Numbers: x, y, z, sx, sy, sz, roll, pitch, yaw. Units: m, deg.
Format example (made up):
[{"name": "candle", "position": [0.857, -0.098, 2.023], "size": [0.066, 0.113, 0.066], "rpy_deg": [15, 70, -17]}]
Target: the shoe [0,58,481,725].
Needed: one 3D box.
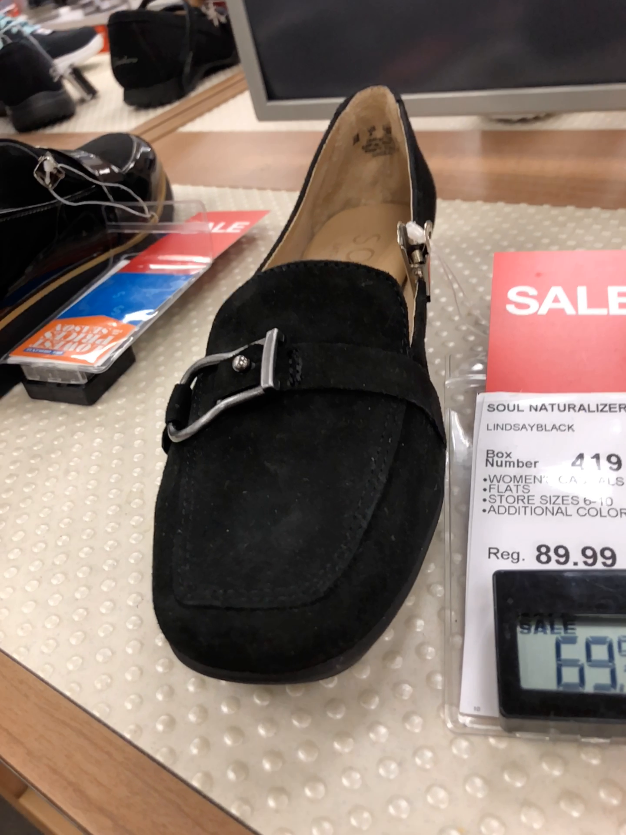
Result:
[{"name": "shoe", "position": [0.007, -0.038, 0.232], "size": [0.080, 0.079, 0.239], "rpy_deg": [-2, 39, 18]}]
